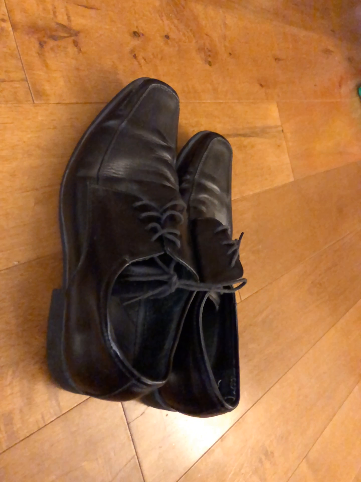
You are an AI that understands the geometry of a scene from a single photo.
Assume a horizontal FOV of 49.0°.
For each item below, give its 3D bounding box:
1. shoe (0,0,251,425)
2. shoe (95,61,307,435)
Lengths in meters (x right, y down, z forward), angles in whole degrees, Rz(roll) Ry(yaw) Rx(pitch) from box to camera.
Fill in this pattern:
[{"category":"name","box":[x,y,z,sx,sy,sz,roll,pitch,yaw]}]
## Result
[{"category":"shoe","box":[-0.042,-0.030,0.330,0.110,0.129,0.310,24,67,-40]},{"category":"shoe","box":[0.030,0.008,0.393,0.110,0.129,0.310,24,67,-40]}]
